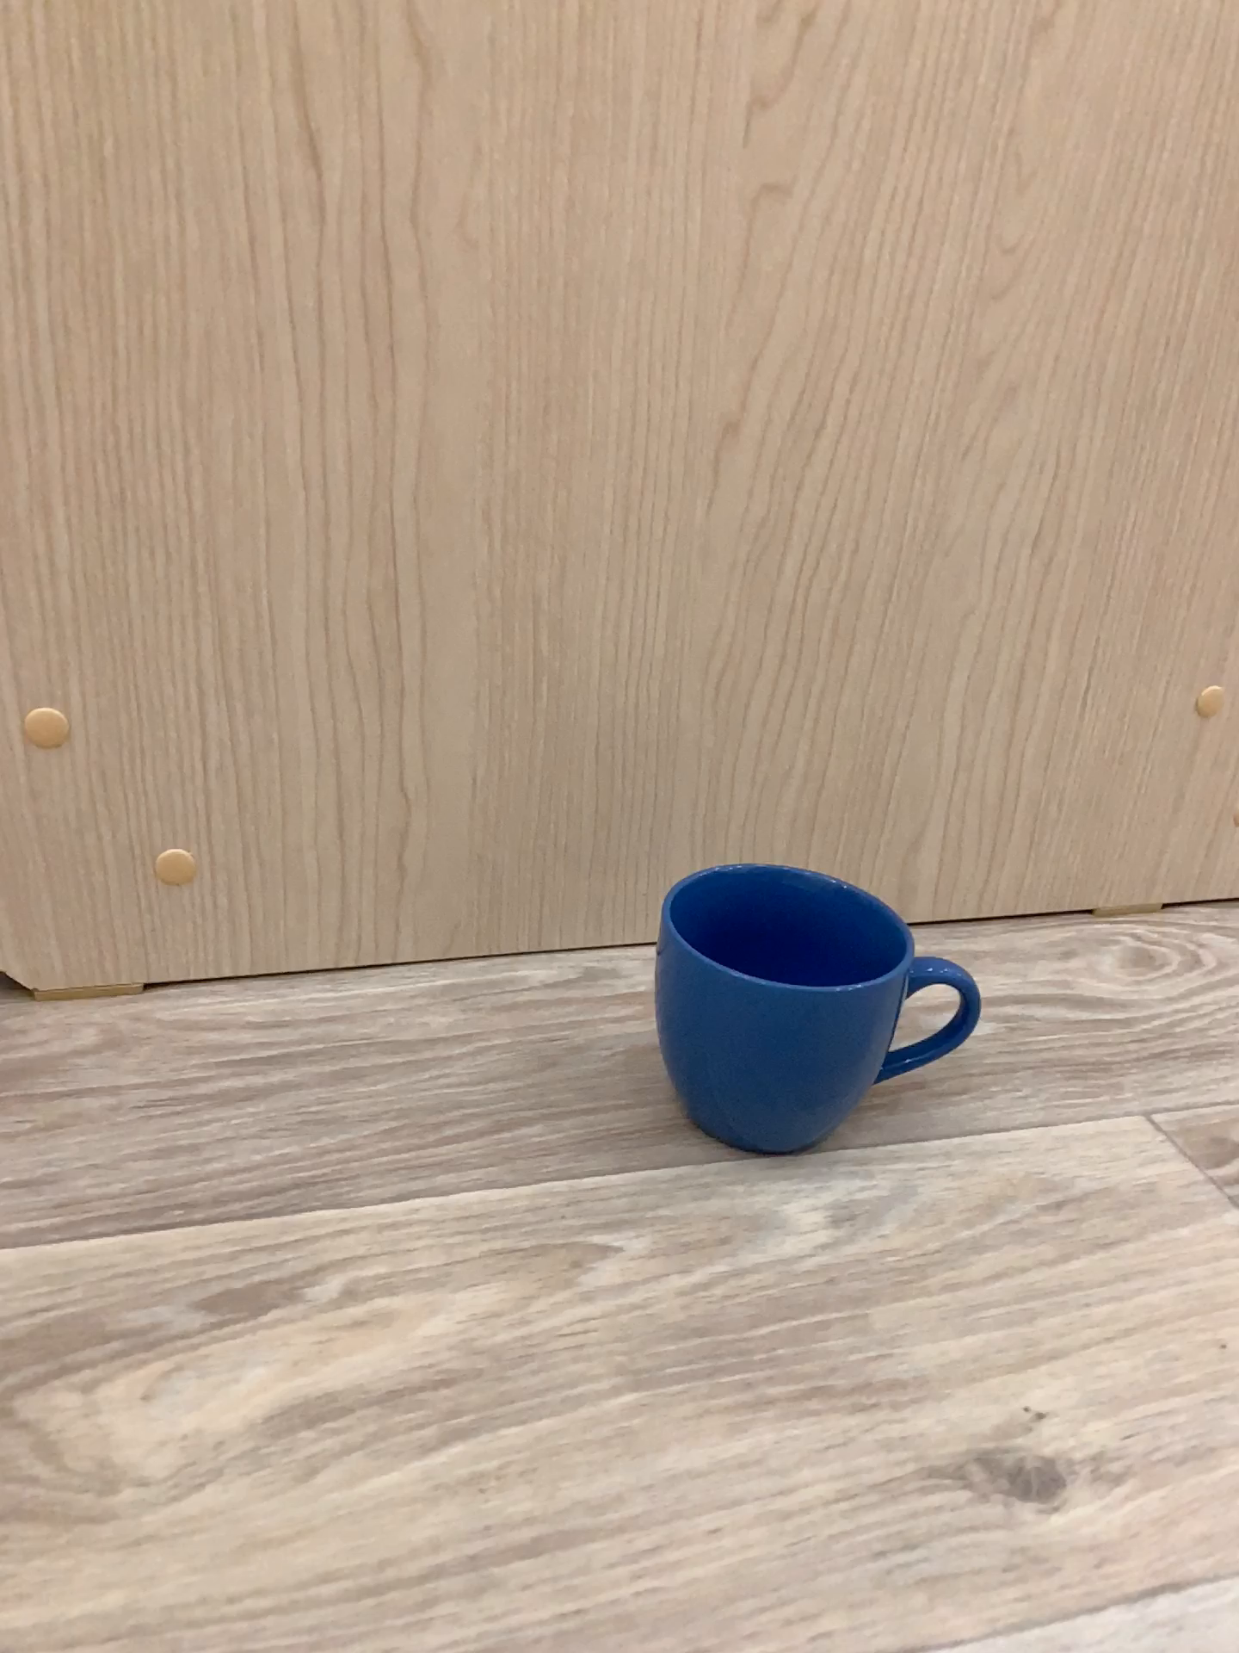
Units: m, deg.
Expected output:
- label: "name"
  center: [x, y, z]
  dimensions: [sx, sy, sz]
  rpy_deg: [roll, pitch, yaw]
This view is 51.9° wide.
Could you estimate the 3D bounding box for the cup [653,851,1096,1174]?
- label: "cup"
  center: [0.080, 0.059, 0.433]
  dimensions: [0.117, 0.074, 0.078]
  rpy_deg: [0, 24, -12]
